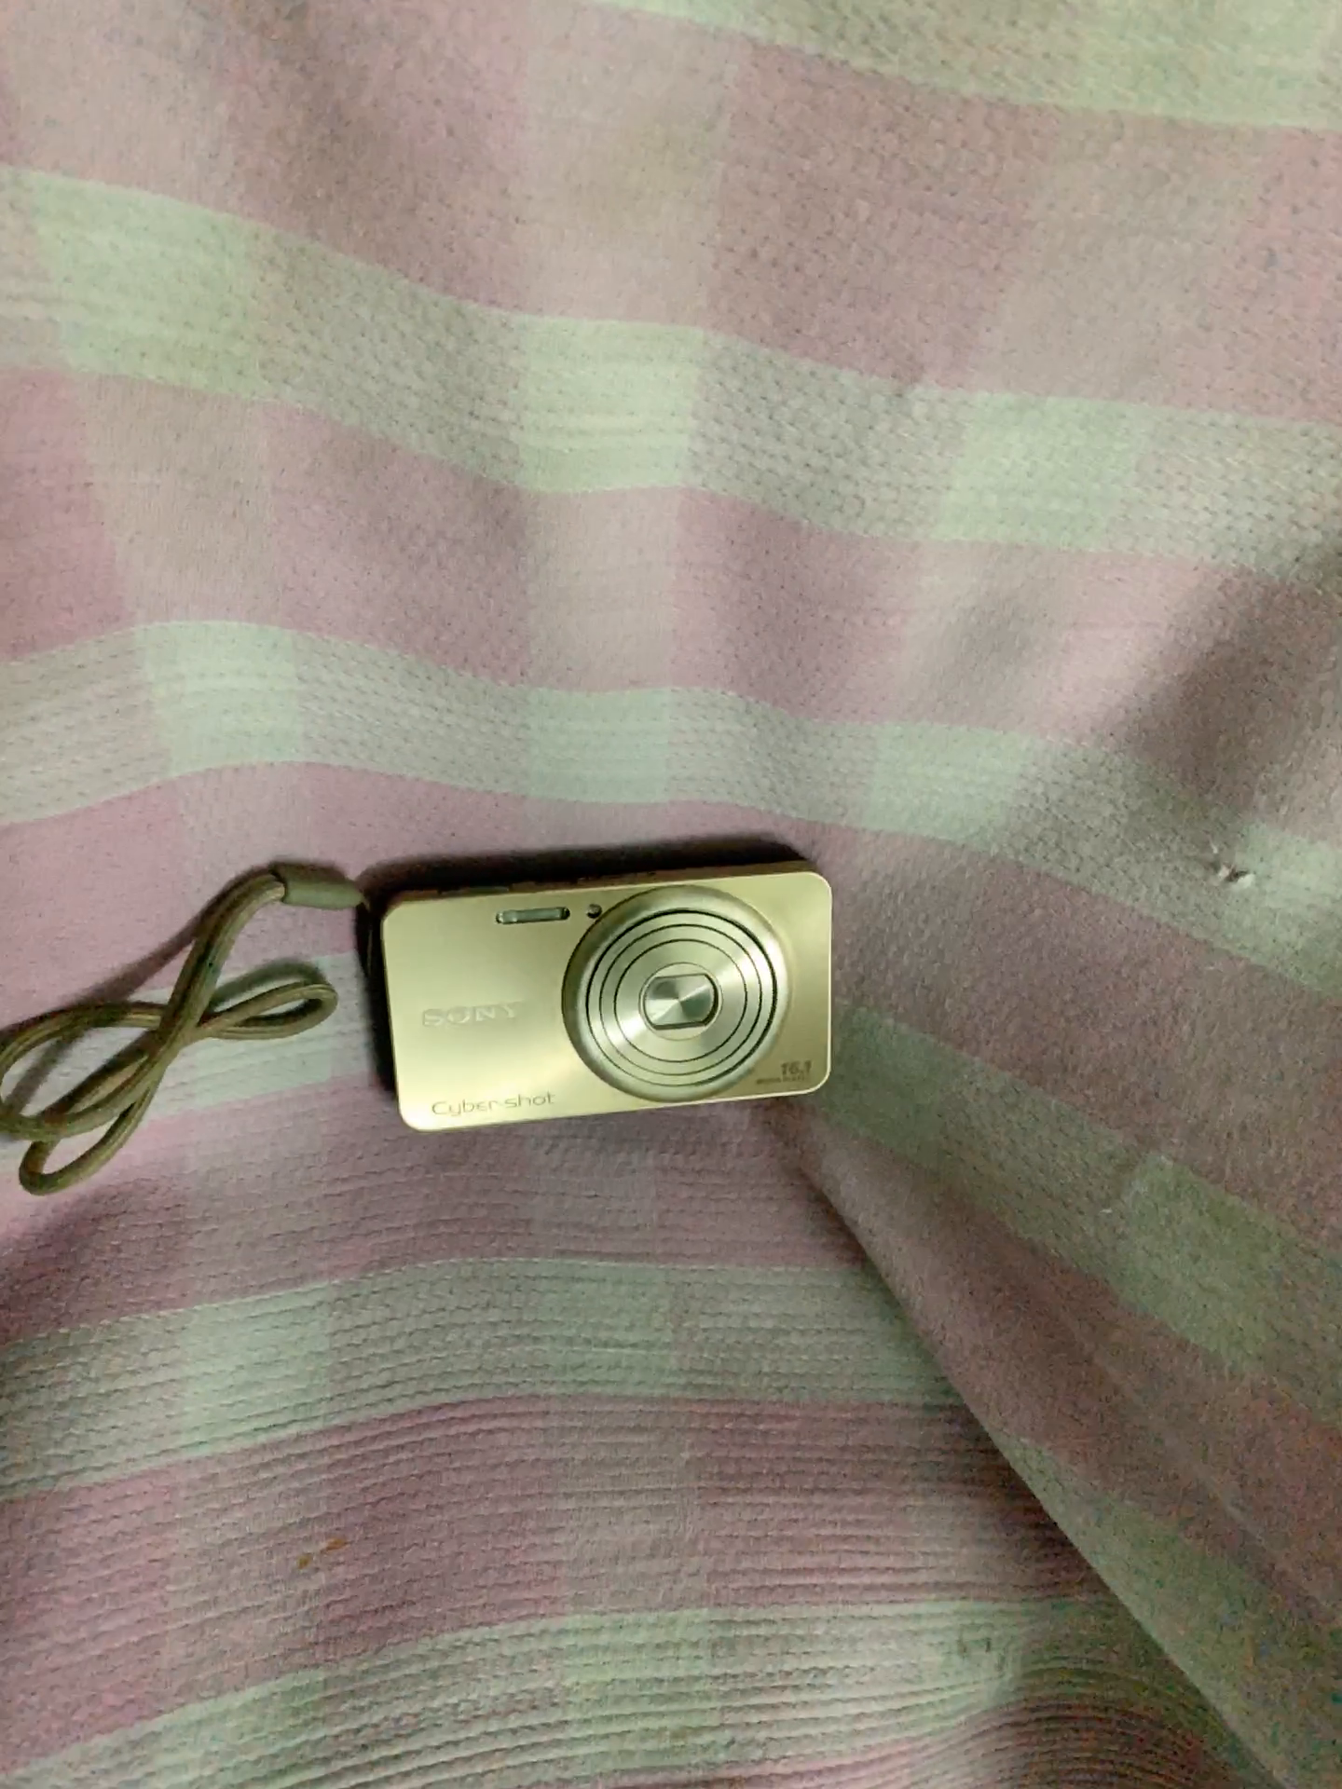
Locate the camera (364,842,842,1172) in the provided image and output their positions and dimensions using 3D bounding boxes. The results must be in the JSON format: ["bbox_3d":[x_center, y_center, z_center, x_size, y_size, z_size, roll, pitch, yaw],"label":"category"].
[{"bbox_3d":[-0.013,0.022,0.285,0.091,0.027,0.053,-5,108,-7],"label":"camera"}]
